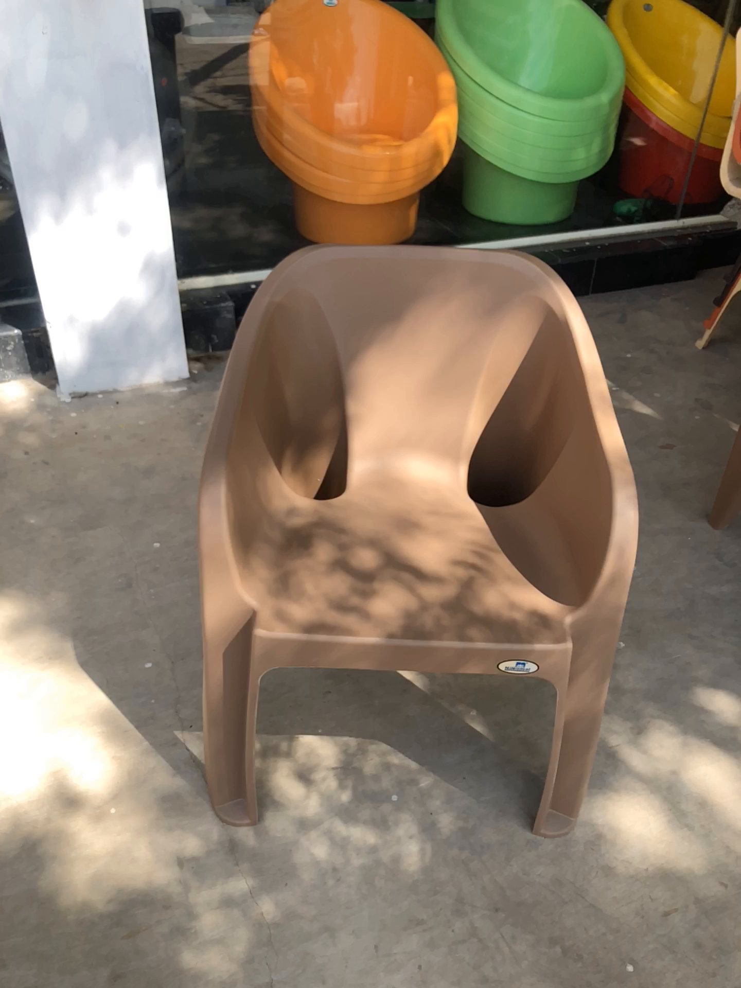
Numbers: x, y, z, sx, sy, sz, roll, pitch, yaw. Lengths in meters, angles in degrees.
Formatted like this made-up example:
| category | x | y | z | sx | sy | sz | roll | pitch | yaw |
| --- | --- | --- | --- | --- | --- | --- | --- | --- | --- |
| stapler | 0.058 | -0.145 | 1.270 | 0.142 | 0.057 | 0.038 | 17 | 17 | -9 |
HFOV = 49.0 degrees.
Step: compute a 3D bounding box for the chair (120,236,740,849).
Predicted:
| category | x | y | z | sx | sy | sz | roll | pitch | yaw |
| --- | --- | --- | --- | --- | --- | --- | --- | --- | --- |
| chair | 0.067 | 0.038 | 1.294 | 0.640 | 0.636 | 0.724 | 2 | 36 | 0 |
